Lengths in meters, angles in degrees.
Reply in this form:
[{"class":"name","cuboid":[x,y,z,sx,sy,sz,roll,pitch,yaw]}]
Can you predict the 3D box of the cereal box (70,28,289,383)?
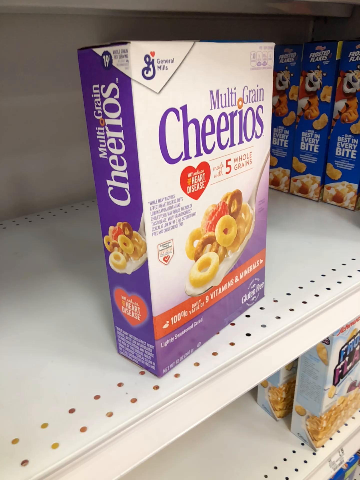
[{"class":"cereal box","cuboid":[0.019,-0.044,0.411,0.070,0.299,0.210,18,31,39]}]
